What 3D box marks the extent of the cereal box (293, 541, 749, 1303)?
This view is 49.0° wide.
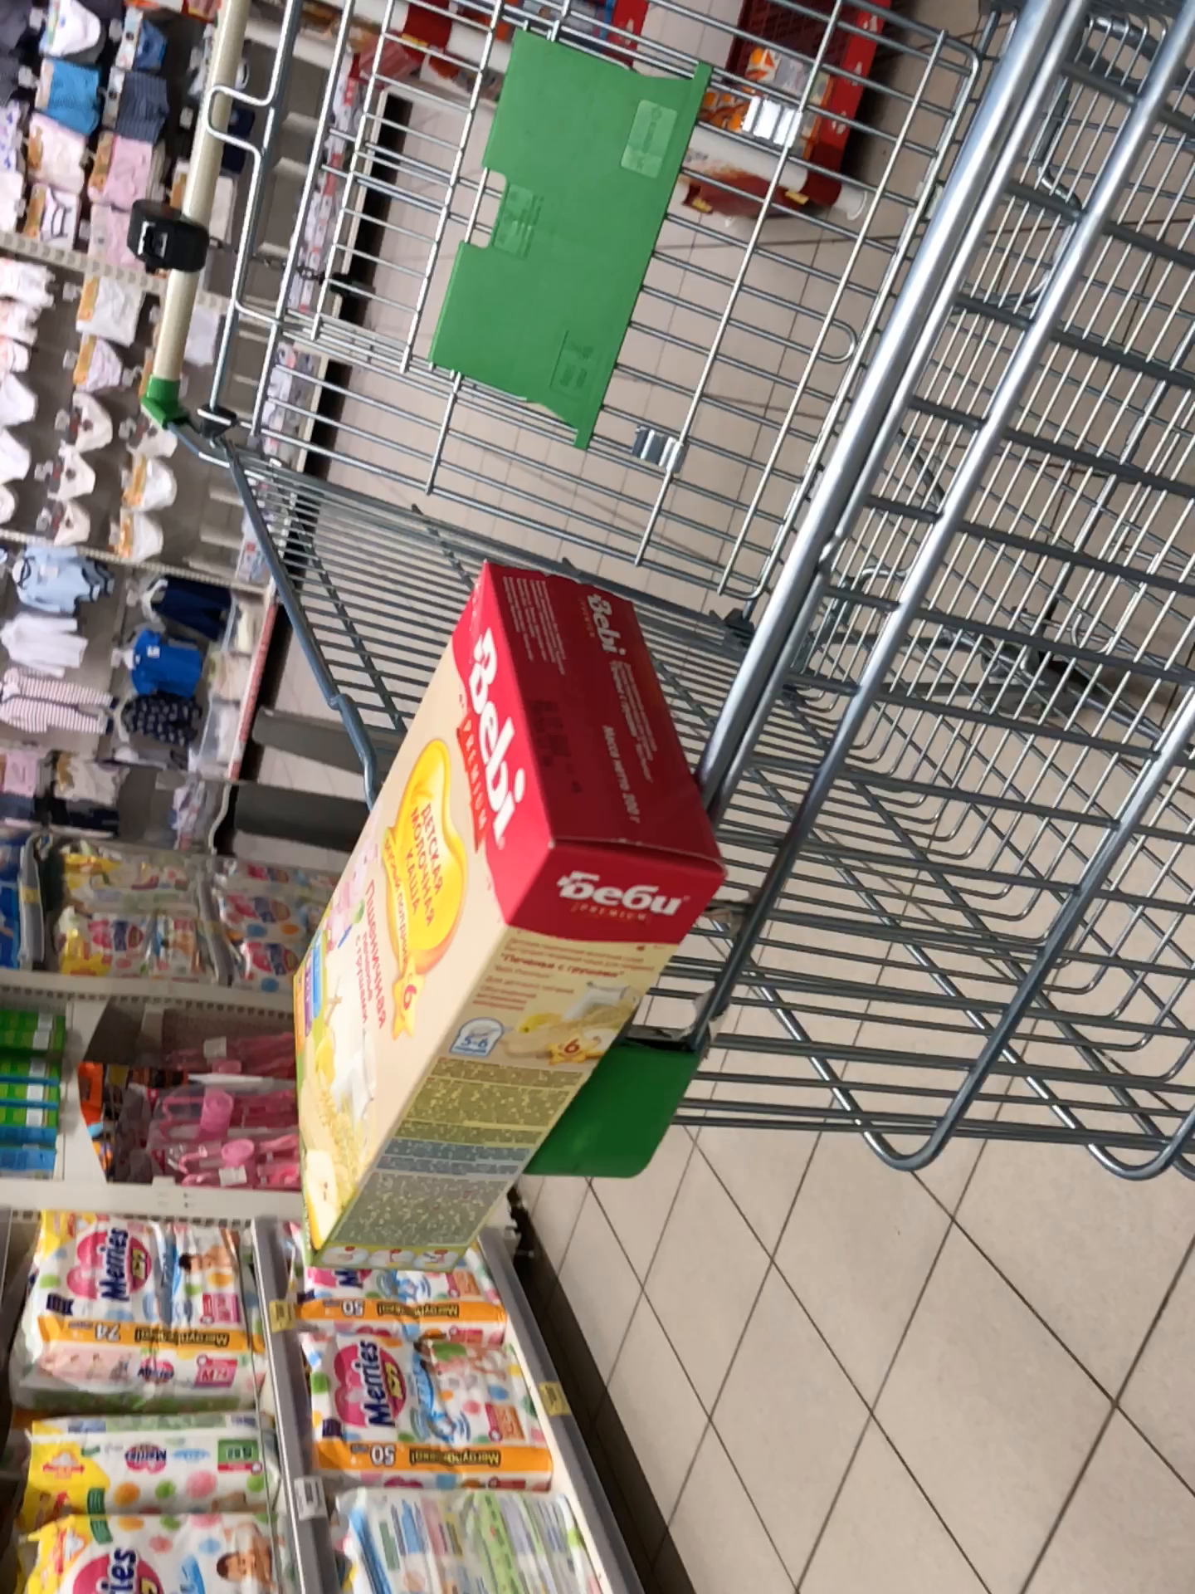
[{"bbox_3d":[-0.041,0.047,0.416,0.211,0.050,0.130,-59,30,35],"label":"cereal box"}]
